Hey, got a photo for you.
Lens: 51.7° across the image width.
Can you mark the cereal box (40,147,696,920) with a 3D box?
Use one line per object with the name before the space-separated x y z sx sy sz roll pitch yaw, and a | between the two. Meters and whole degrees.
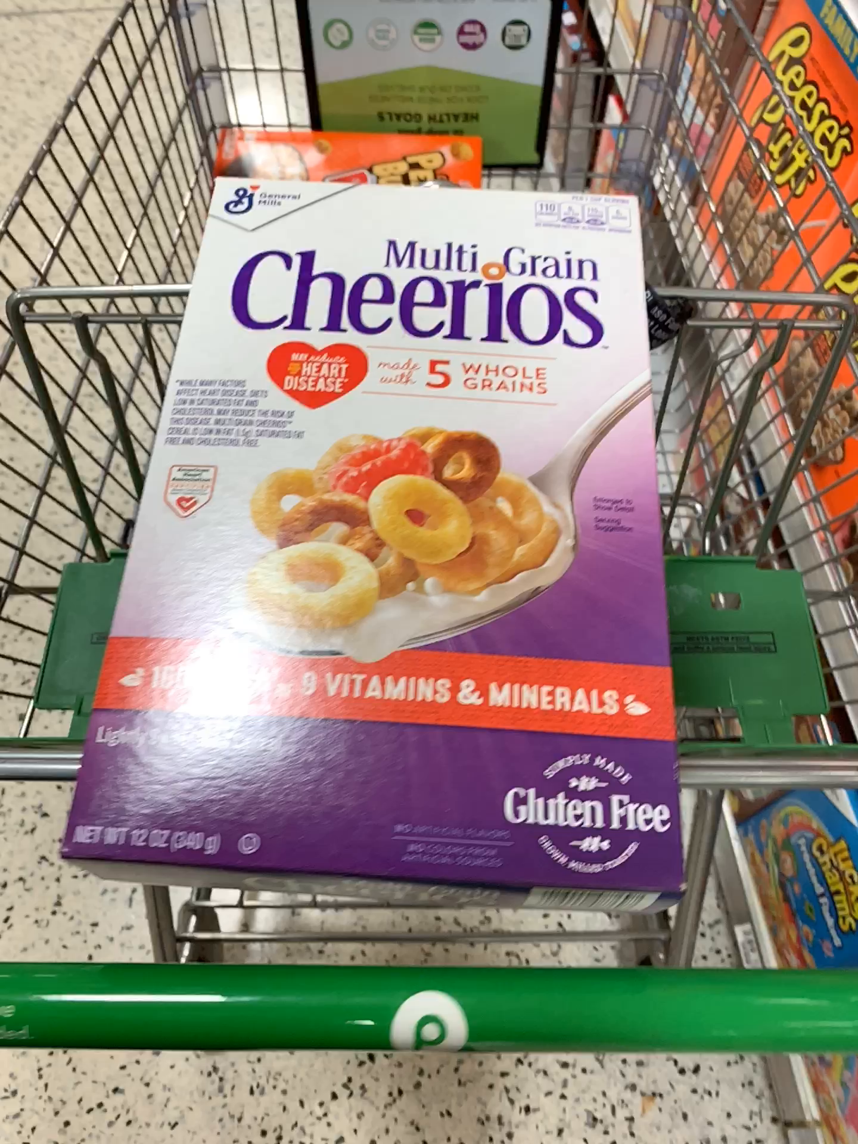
cereal box | -0.012 -0.034 0.373 0.200 0.070 0.322 3 63 0
